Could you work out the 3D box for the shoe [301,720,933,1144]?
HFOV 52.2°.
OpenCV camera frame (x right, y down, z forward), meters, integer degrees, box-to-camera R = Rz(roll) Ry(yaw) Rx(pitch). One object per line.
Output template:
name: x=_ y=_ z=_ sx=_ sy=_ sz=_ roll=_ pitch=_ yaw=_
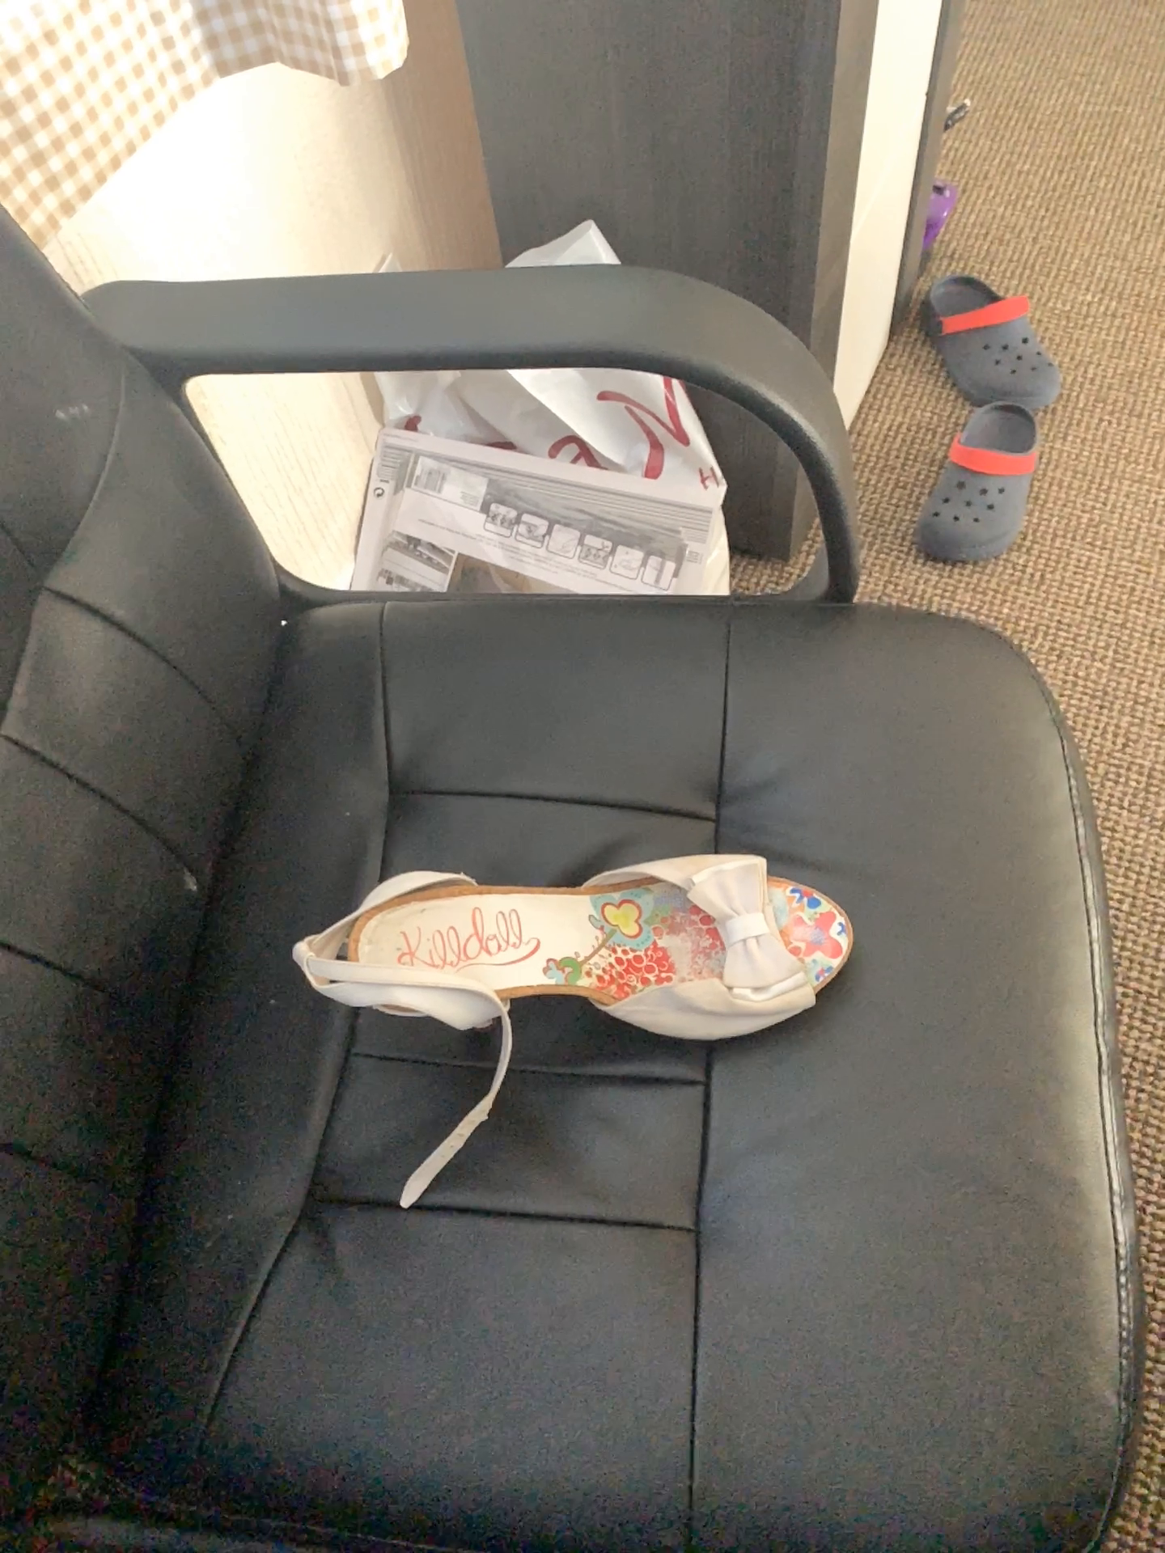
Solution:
shoe: x=0.016 y=0.083 z=0.555 sx=0.240 sy=0.189 sz=0.101 roll=-9 pitch=61 yaw=1
